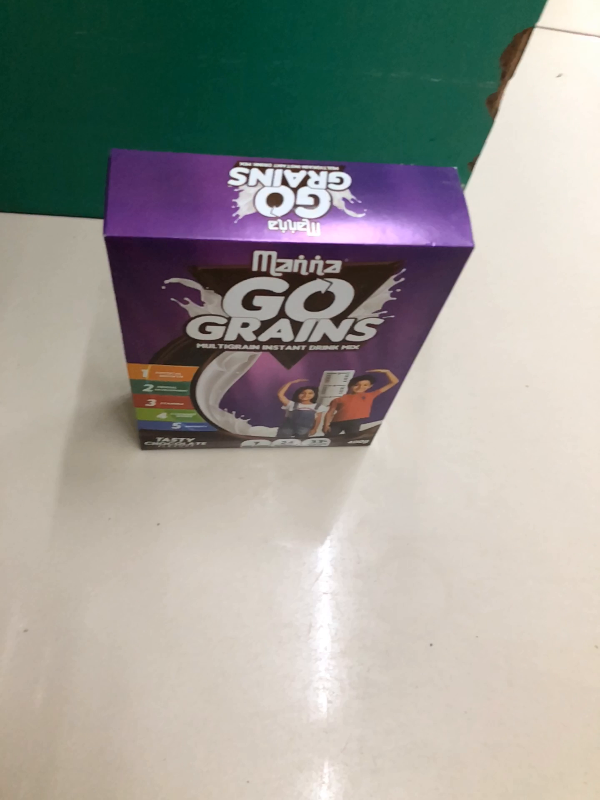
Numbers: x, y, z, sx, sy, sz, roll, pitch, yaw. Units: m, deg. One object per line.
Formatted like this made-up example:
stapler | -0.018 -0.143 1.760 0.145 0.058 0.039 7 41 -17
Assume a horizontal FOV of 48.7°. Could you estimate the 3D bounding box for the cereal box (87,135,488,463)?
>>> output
cereal box | -0.016 -0.034 0.337 0.150 0.189 0.050 -1 59 -10
